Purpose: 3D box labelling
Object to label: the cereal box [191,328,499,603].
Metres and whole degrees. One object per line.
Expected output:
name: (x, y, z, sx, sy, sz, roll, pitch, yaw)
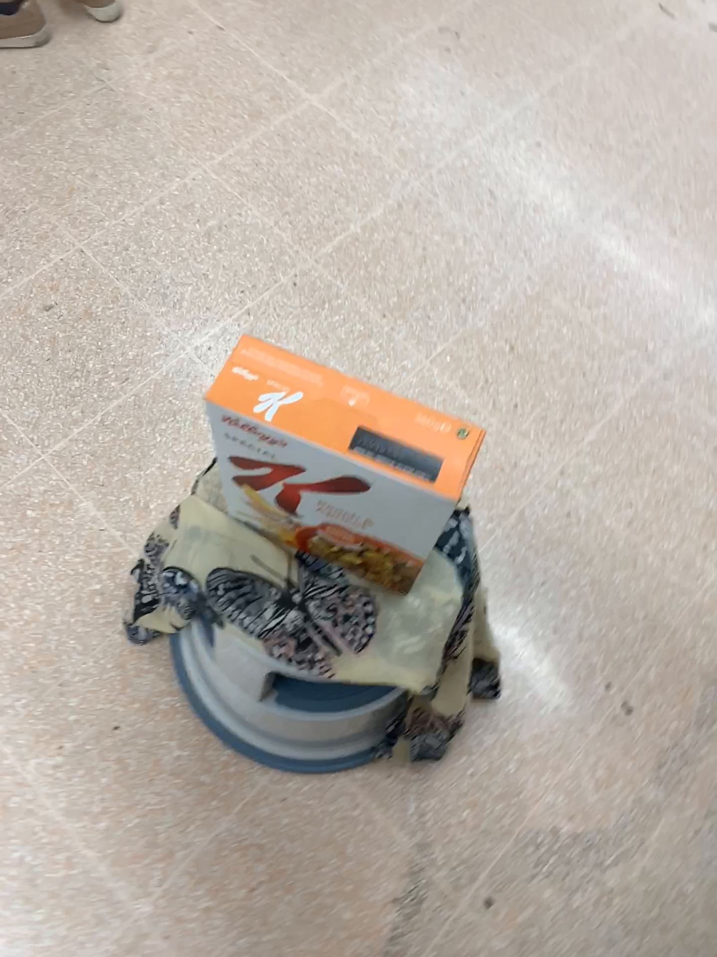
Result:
cereal box: (-0.021, 0.008, 0.635, 0.210, 0.269, 0.060, 23, 67, 4)
